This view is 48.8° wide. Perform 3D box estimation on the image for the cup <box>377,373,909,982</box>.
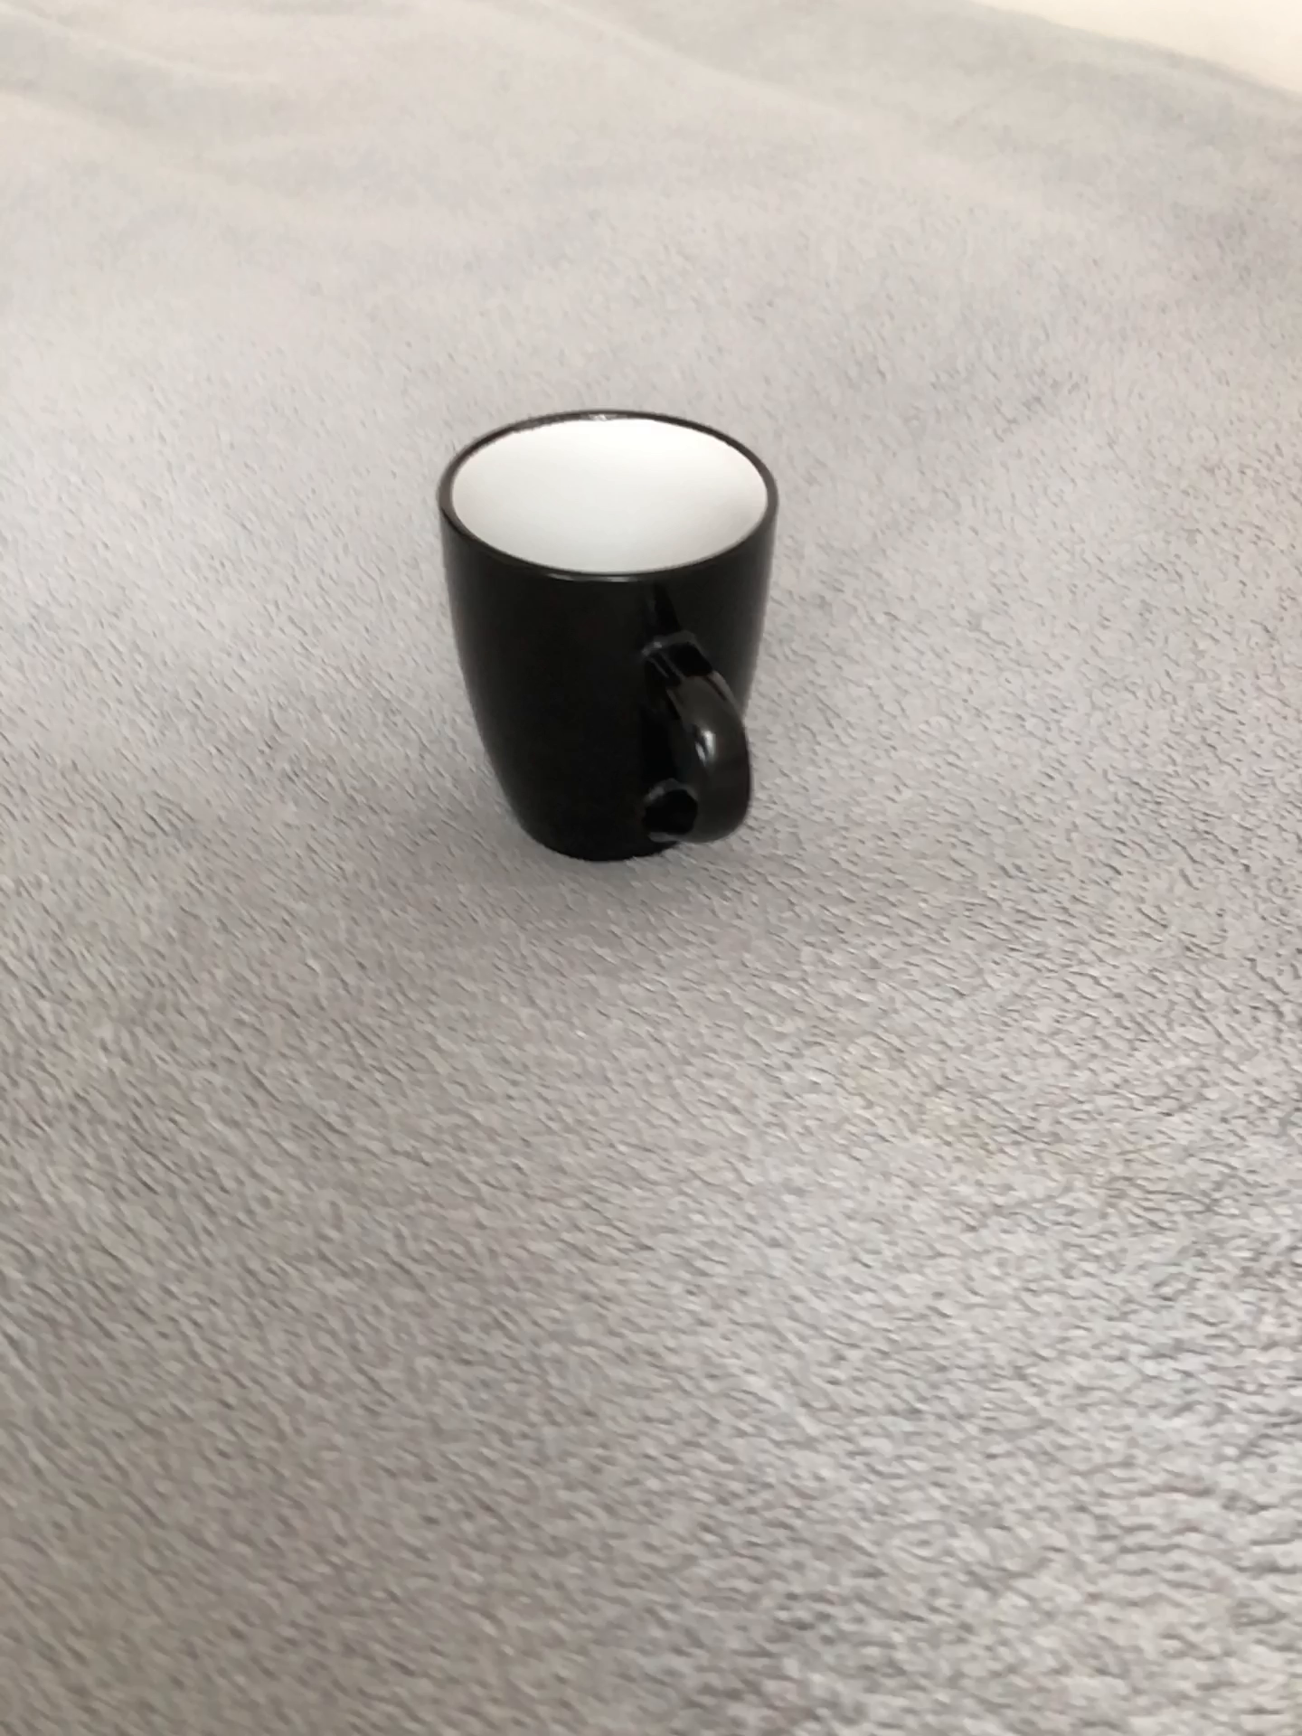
[{"bbox_3d":[-0.011,-0.056,0.375,0.090,0.089,0.128,-11,45,-18],"label":"cup"}]
